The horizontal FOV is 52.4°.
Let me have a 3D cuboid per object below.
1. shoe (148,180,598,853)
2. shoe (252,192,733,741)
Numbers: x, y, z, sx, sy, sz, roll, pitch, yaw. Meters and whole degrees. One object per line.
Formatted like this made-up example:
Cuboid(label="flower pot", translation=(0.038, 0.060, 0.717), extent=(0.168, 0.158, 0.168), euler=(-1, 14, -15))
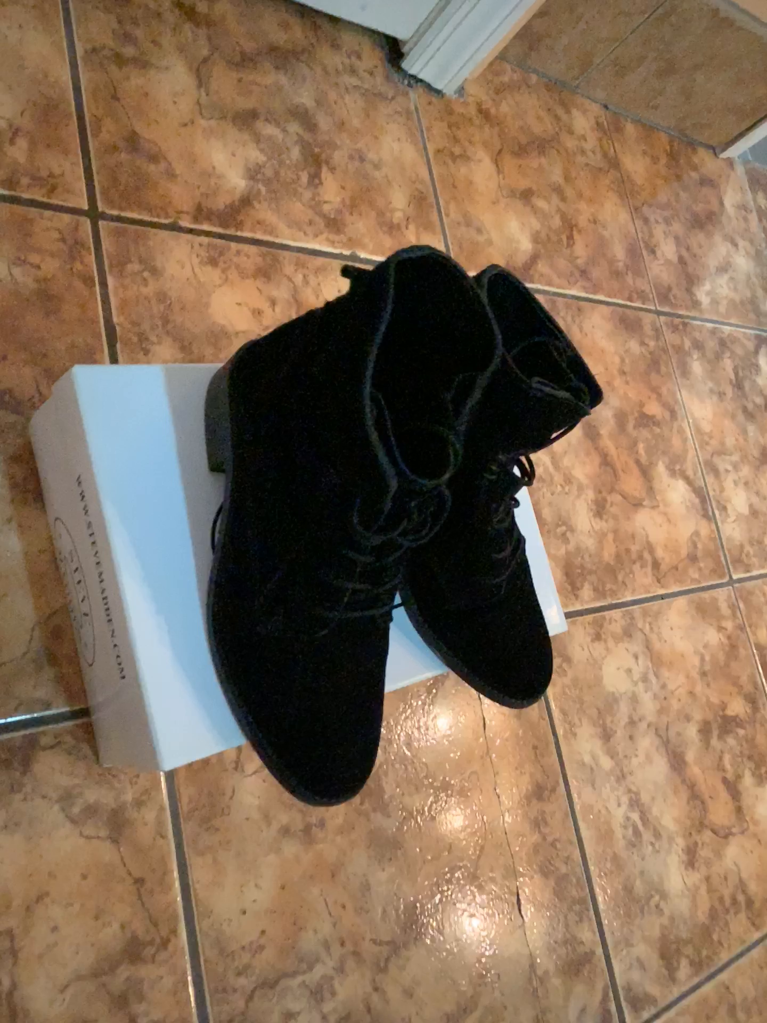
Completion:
Cuboid(label="shoe", translation=(-0.021, 0.010, 0.373), extent=(0.094, 0.152, 0.257), euler=(-5, 77, -37))
Cuboid(label="shoe", translation=(0.057, -0.019, 0.452), extent=(0.108, 0.142, 0.267), euler=(-27, 90, -39))
